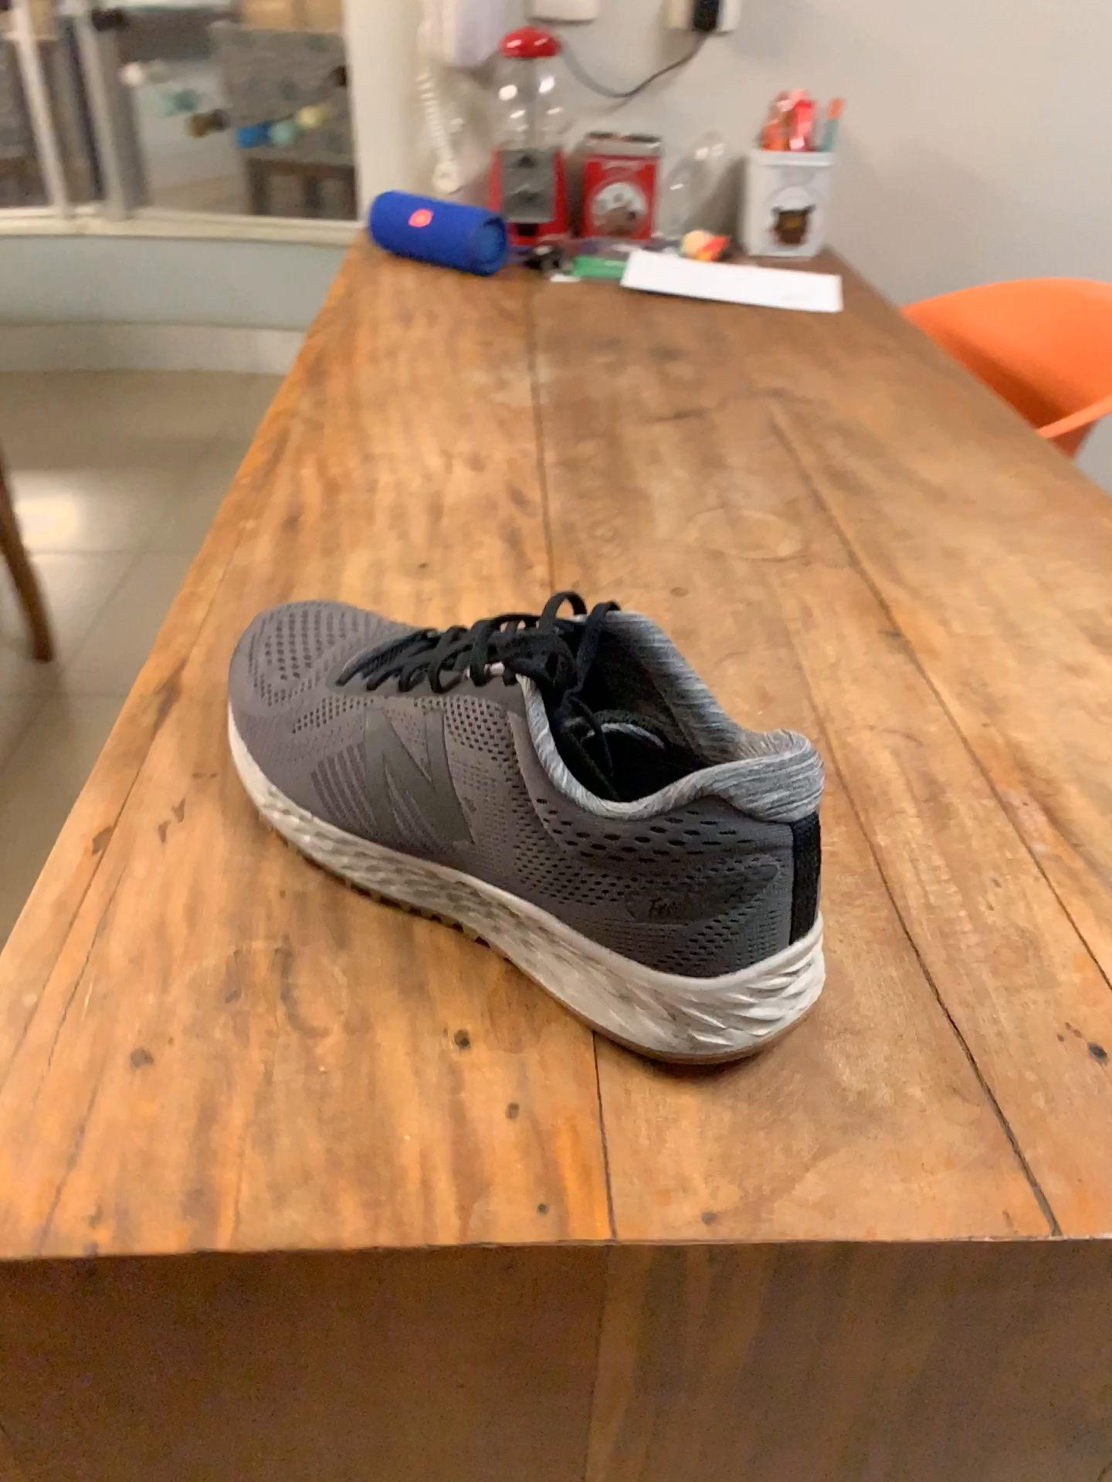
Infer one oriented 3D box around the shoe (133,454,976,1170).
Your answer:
[{"bbox_3d":[-0.021,-0.001,0.427,0.301,0.109,0.110,29,43,35],"label":"shoe"}]
